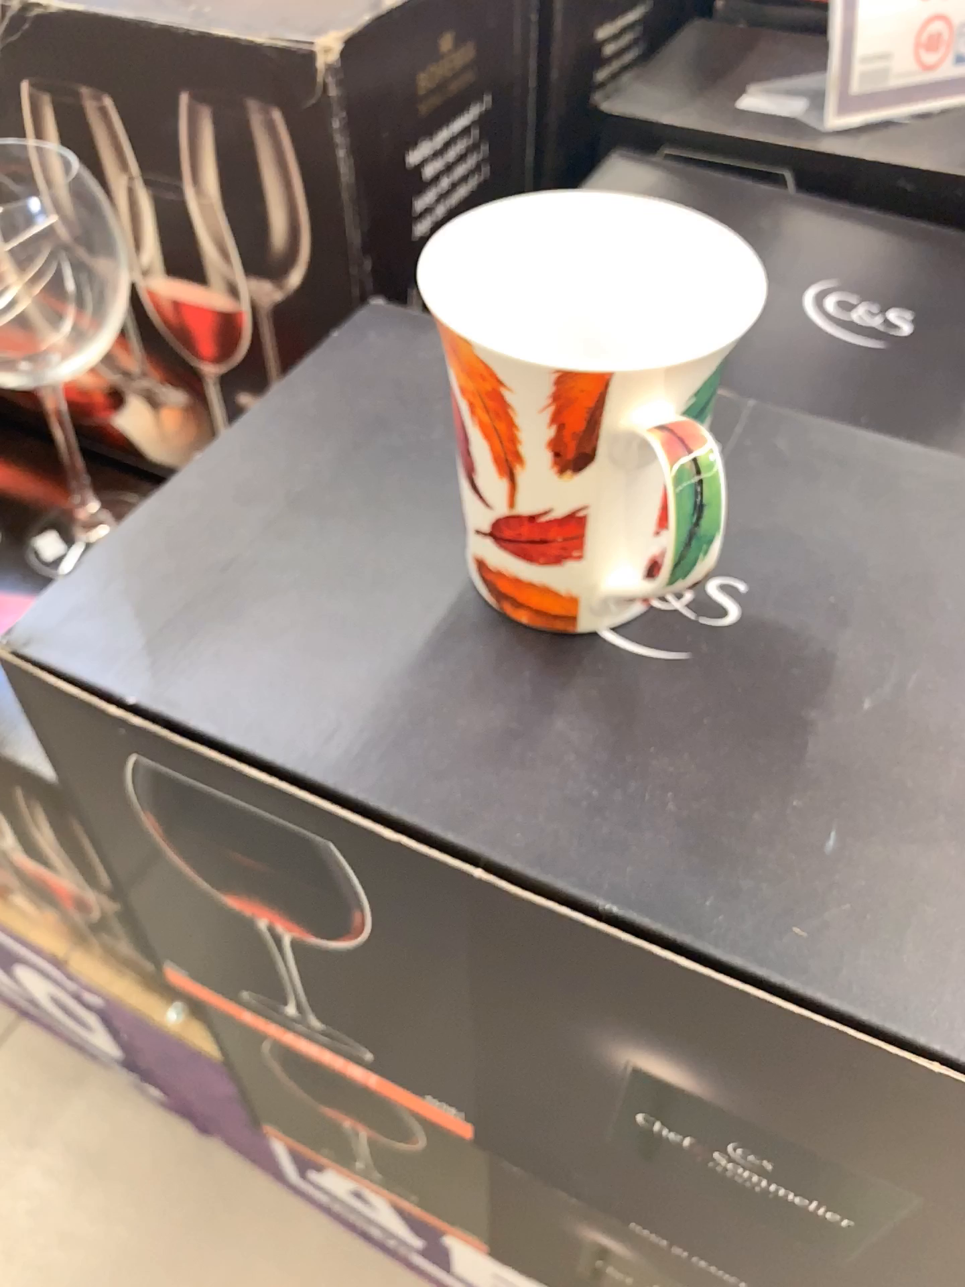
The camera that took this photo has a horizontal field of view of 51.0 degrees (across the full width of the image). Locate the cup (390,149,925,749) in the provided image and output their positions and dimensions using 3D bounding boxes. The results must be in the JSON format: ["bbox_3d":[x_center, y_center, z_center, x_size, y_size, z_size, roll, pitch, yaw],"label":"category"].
[{"bbox_3d":[0.033,-0.057,0.279,0.090,0.100,0.120,-10,48,-10],"label":"cup"}]
